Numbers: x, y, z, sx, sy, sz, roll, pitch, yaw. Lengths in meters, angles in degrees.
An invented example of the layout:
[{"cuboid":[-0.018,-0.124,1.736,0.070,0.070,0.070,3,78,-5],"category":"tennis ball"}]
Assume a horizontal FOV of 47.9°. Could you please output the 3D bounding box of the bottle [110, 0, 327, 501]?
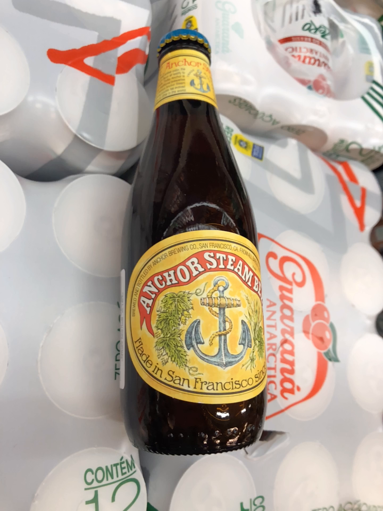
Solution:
[{"cuboid":[0.006,-0.022,0.201,0.070,0.060,0.220,4,79,-30],"category":"bottle"}]
